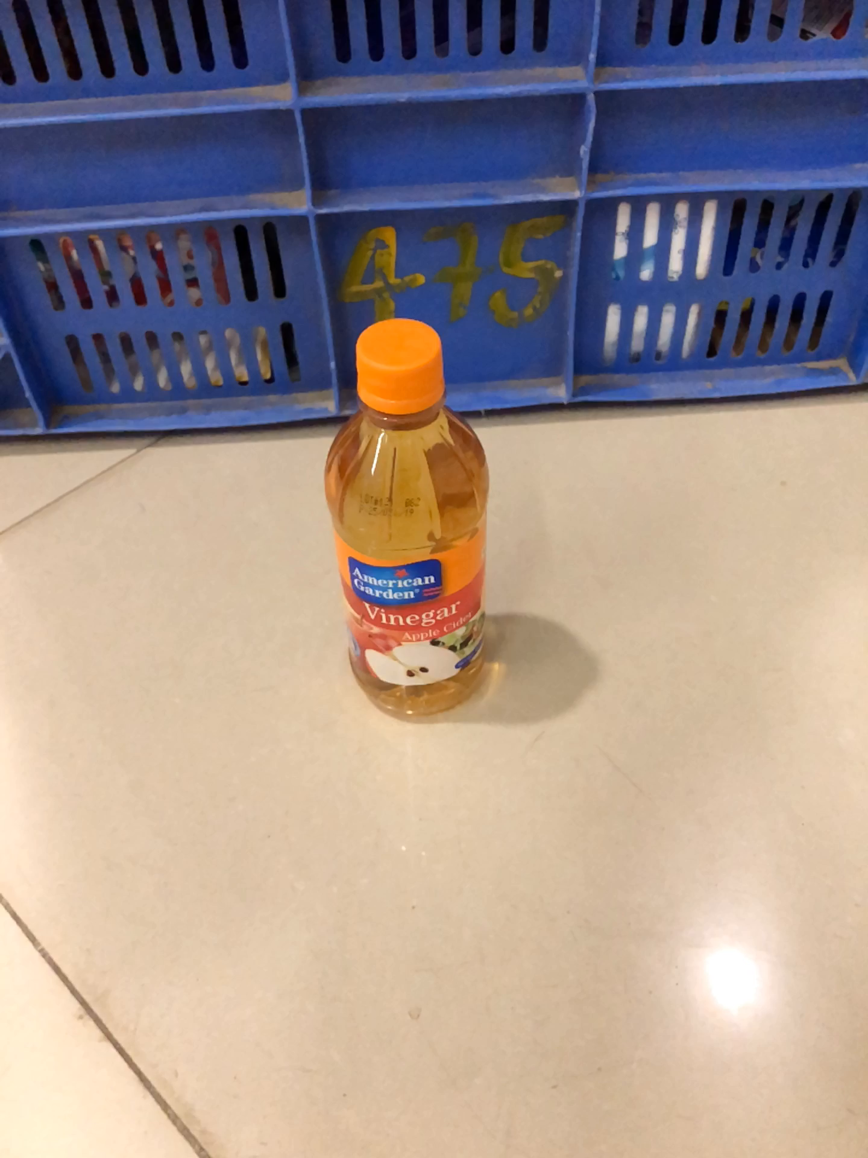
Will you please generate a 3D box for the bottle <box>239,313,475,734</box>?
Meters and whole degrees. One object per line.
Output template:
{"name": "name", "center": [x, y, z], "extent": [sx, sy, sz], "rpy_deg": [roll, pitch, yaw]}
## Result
{"name": "bottle", "center": [-0.022, -0.016, 0.397], "extent": [0.070, 0.169, 0.070], "rpy_deg": [-2, 47, 2]}
